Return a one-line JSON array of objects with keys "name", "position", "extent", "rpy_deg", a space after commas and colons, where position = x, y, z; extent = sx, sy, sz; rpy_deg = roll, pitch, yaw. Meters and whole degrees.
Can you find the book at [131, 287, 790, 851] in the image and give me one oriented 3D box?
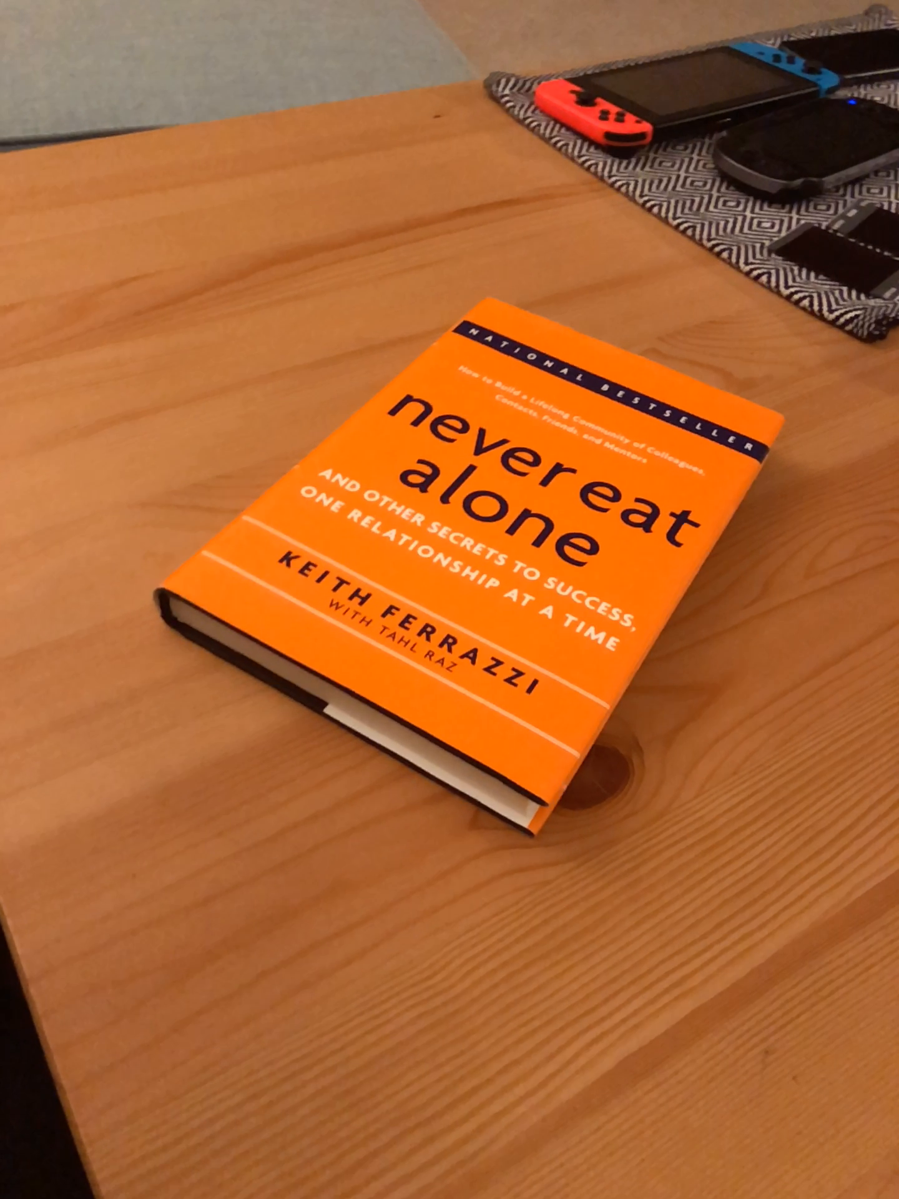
[{"name": "book", "position": [0.020, -0.037, 0.408], "extent": [0.166, 0.025, 0.241], "rpy_deg": [27, 51, 17]}]
